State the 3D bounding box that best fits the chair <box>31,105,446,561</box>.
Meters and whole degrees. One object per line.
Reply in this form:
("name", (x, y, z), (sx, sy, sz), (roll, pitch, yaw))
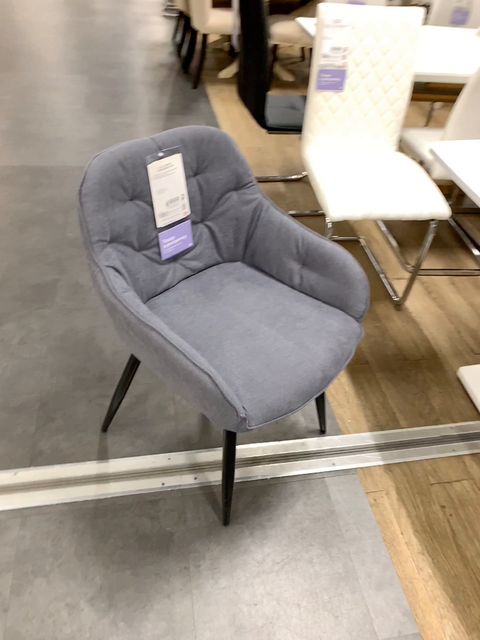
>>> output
("chair", (-0.032, 0.009, 1.213), (0.591, 0.775, 0.562), (36, 49, 28))
